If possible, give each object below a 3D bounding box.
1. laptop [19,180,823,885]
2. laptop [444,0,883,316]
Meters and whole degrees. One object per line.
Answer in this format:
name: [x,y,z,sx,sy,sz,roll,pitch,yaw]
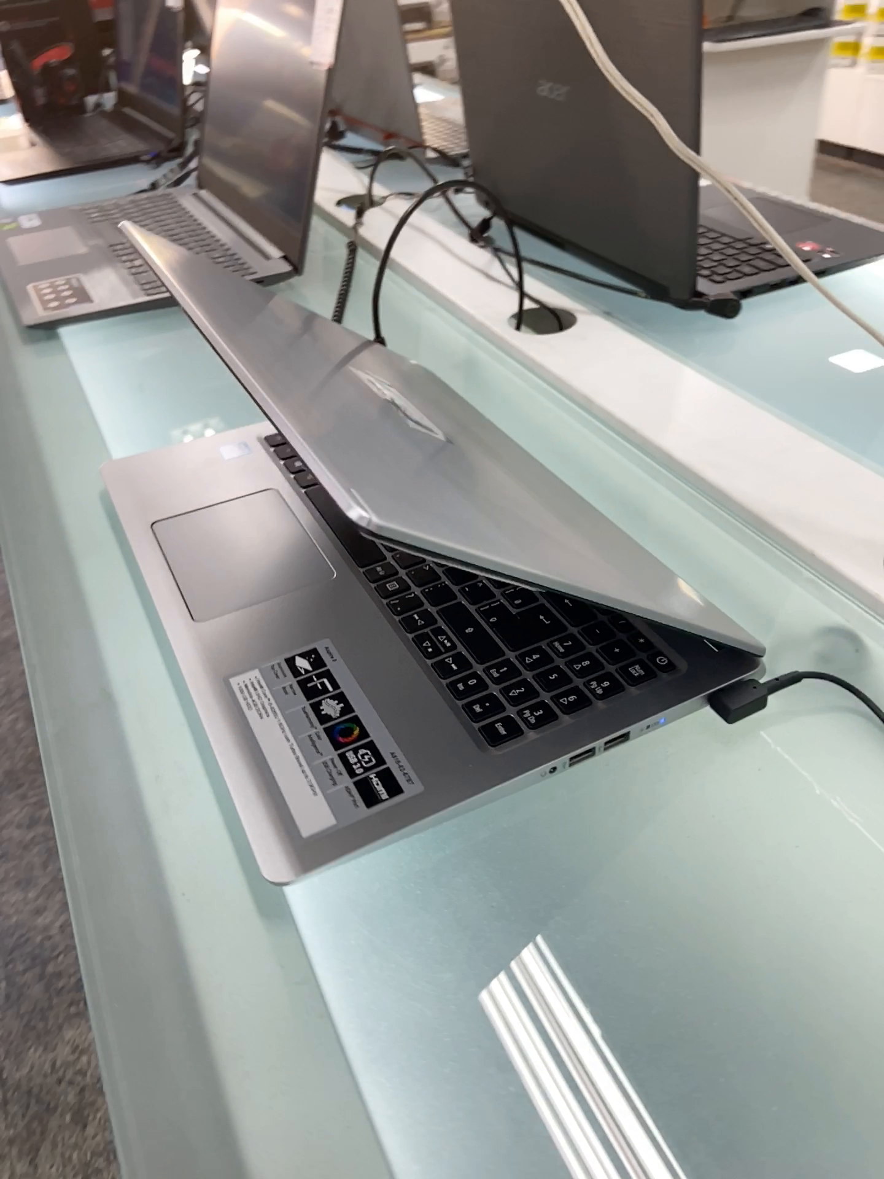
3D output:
laptop: [-0.046,-0.077,0.465,0.236,0.138,0.362,-20,41,-19]
laptop: [0.213,-0.475,0.854,0.265,0.249,0.365,-21,42,-18]
